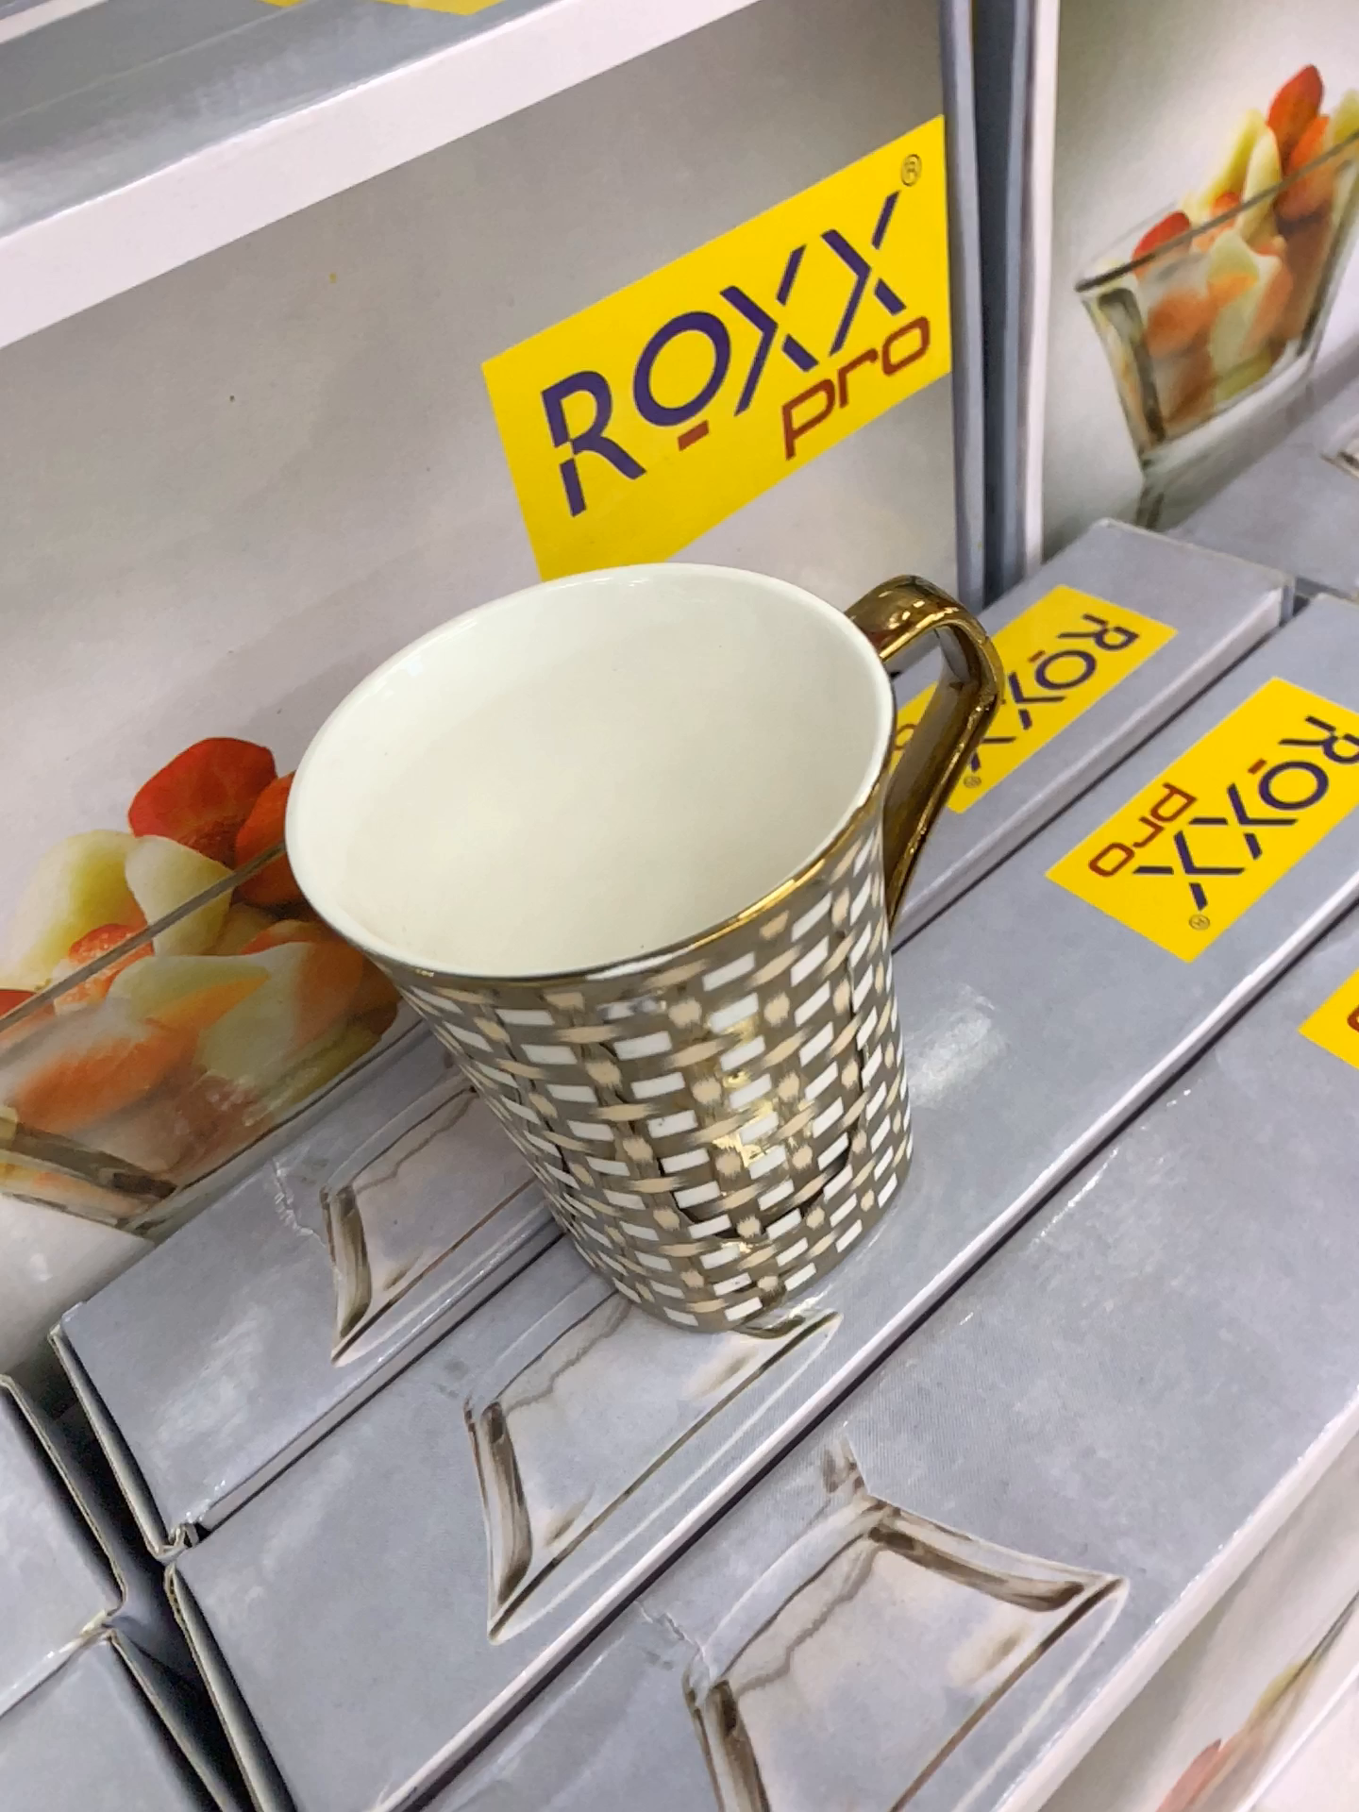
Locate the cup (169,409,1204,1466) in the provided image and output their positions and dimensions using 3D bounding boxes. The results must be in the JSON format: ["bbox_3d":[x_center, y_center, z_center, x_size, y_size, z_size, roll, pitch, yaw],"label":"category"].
[{"bbox_3d":[0.006,0.000,0.220,0.112,0.092,0.083,-35,49,-21],"label":"cup"}]
